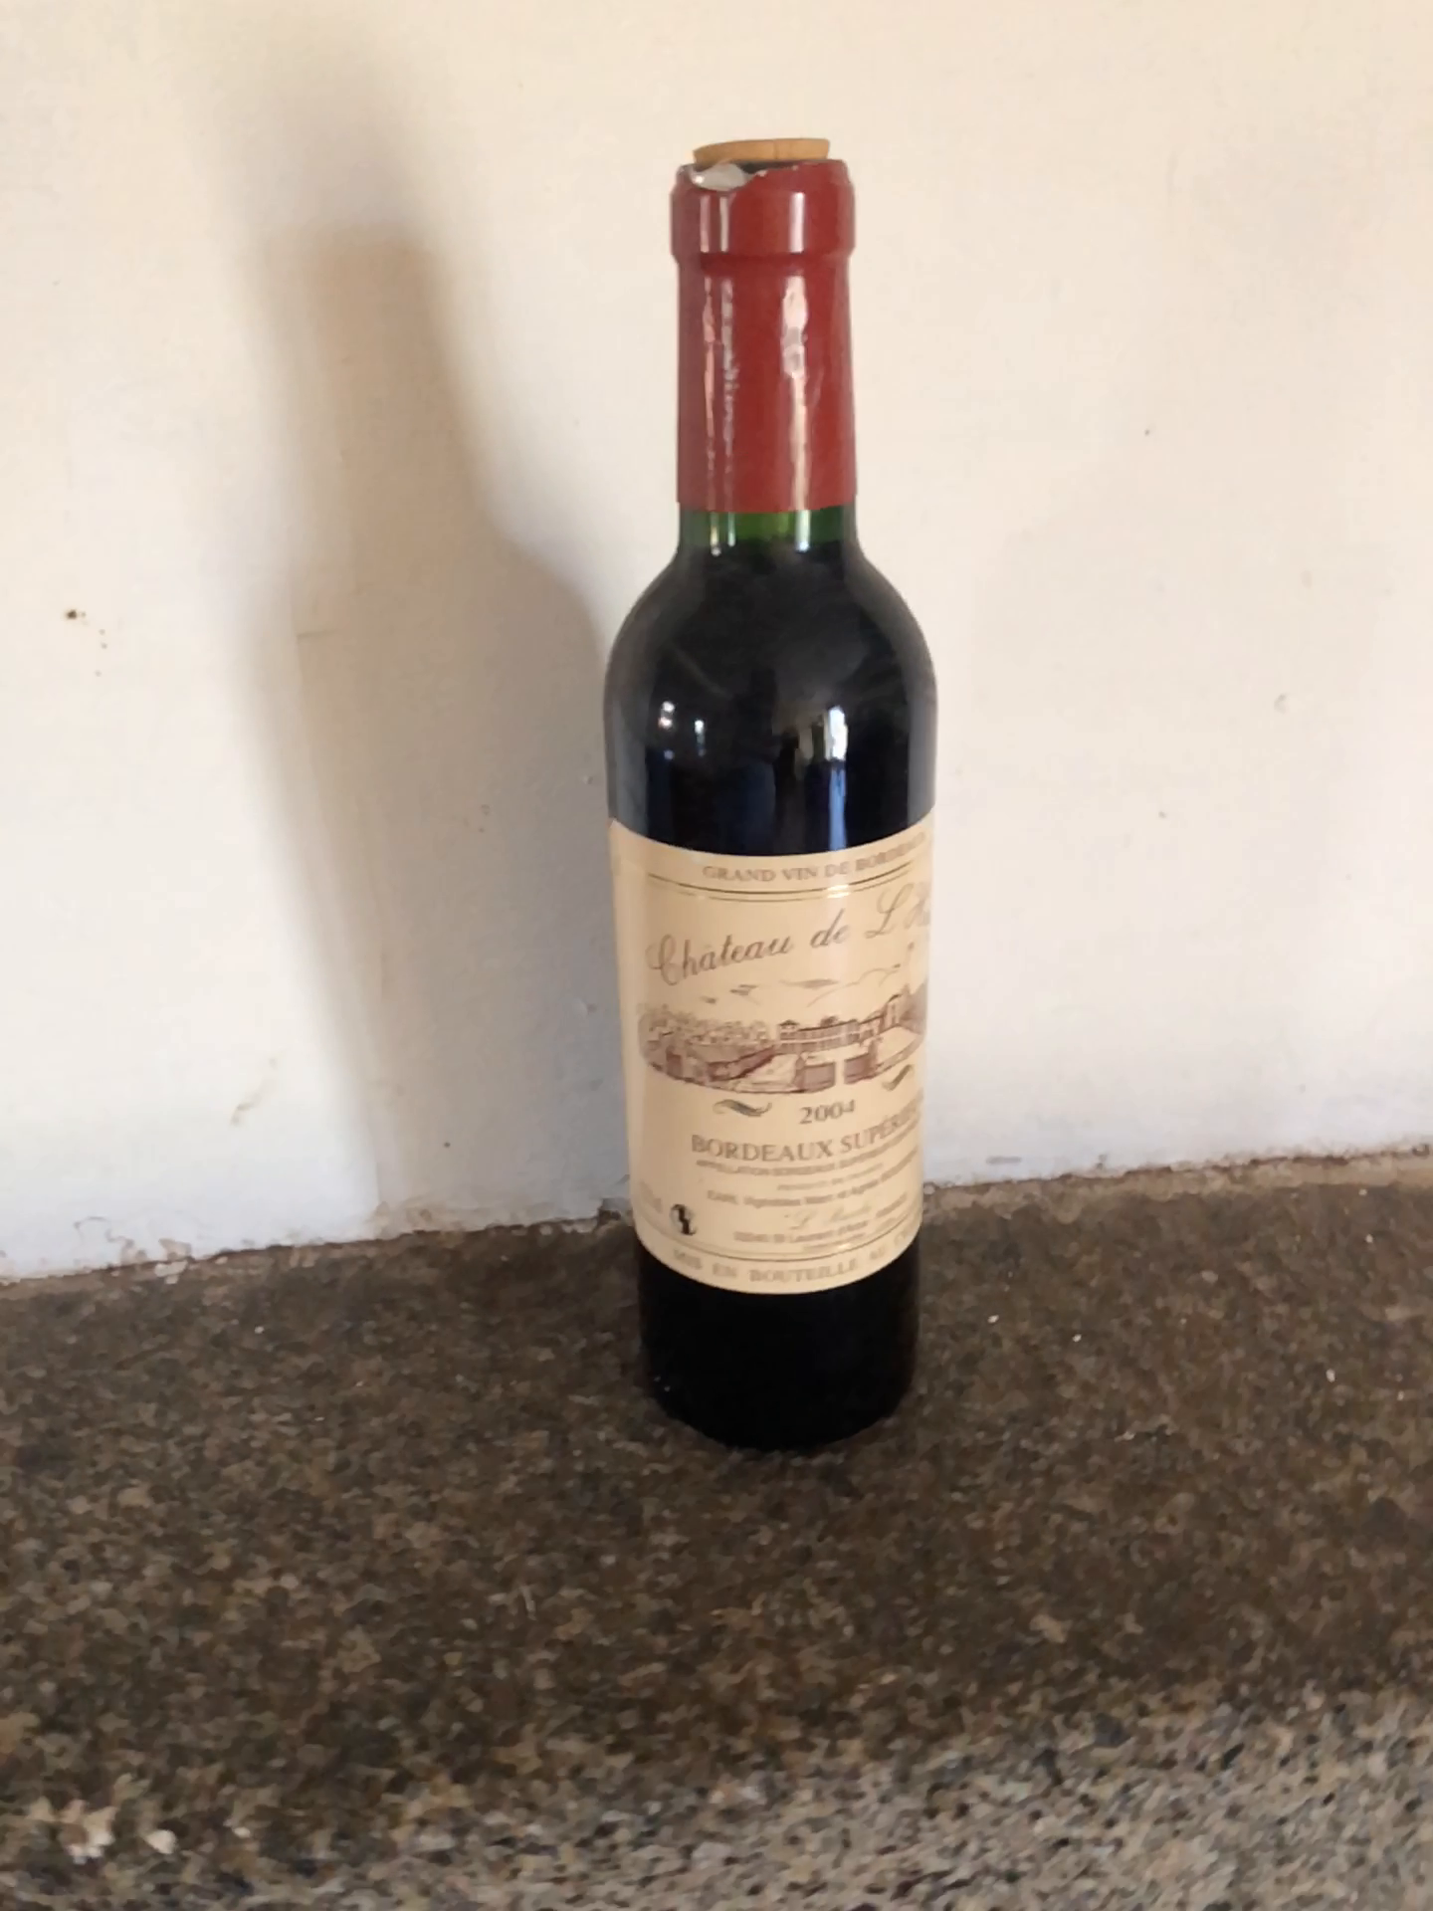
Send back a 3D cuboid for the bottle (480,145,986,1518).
[{"bbox_3d":[0.006,-0.015,0.288,0.060,0.229,0.060,-3,24,1],"label":"bottle"}]
